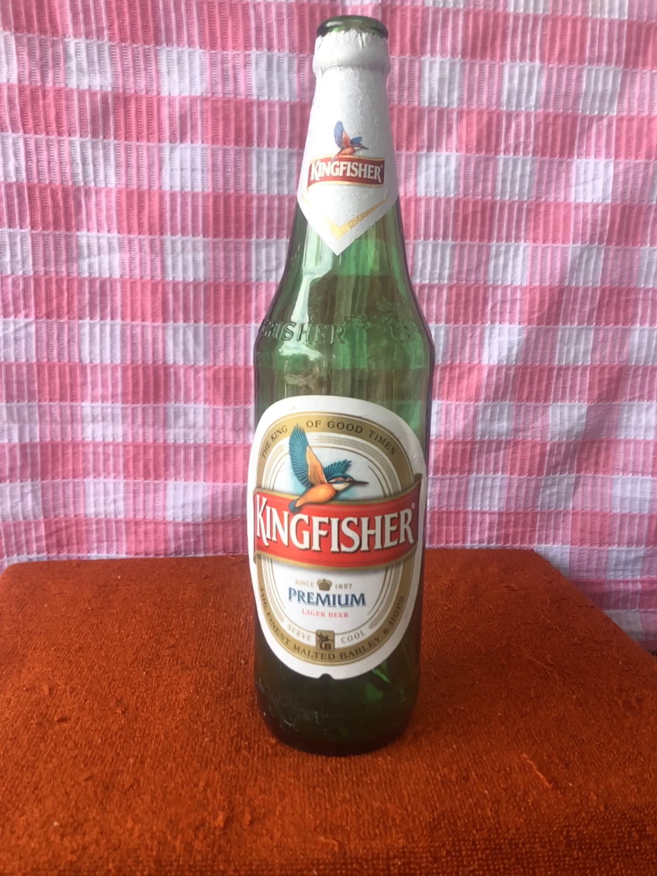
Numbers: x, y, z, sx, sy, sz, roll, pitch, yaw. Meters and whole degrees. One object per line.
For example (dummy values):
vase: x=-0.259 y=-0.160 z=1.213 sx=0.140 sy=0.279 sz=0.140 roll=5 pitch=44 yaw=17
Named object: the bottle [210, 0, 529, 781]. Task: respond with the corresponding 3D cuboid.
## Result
bottle: x=0.012 y=-0.020 z=0.293 sx=0.090 sy=0.289 sz=0.080 roll=6 pitch=15 yaw=10
